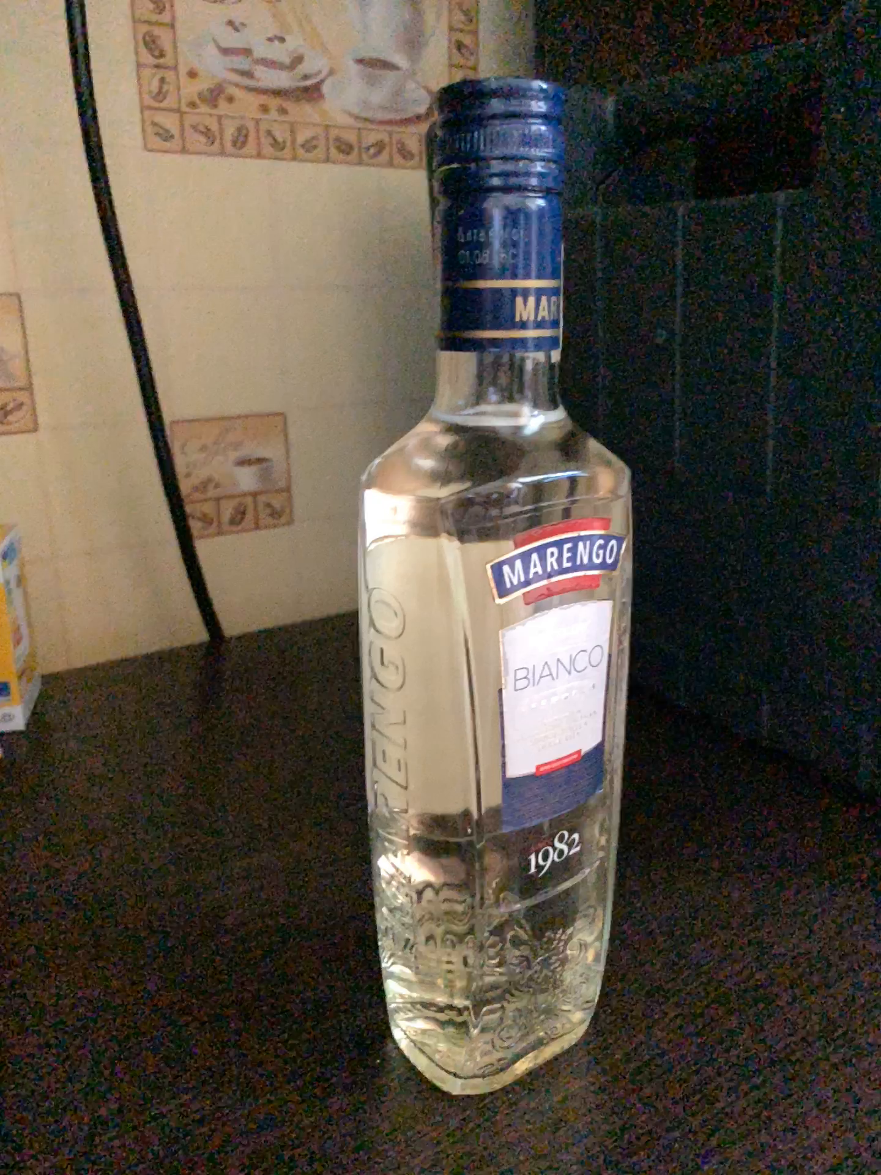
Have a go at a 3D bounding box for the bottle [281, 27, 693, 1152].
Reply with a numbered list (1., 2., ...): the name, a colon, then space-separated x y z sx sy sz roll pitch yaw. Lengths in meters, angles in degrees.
1. bottle: 0.013 0.012 0.268 0.090 0.289 0.050 -11 20 -32
